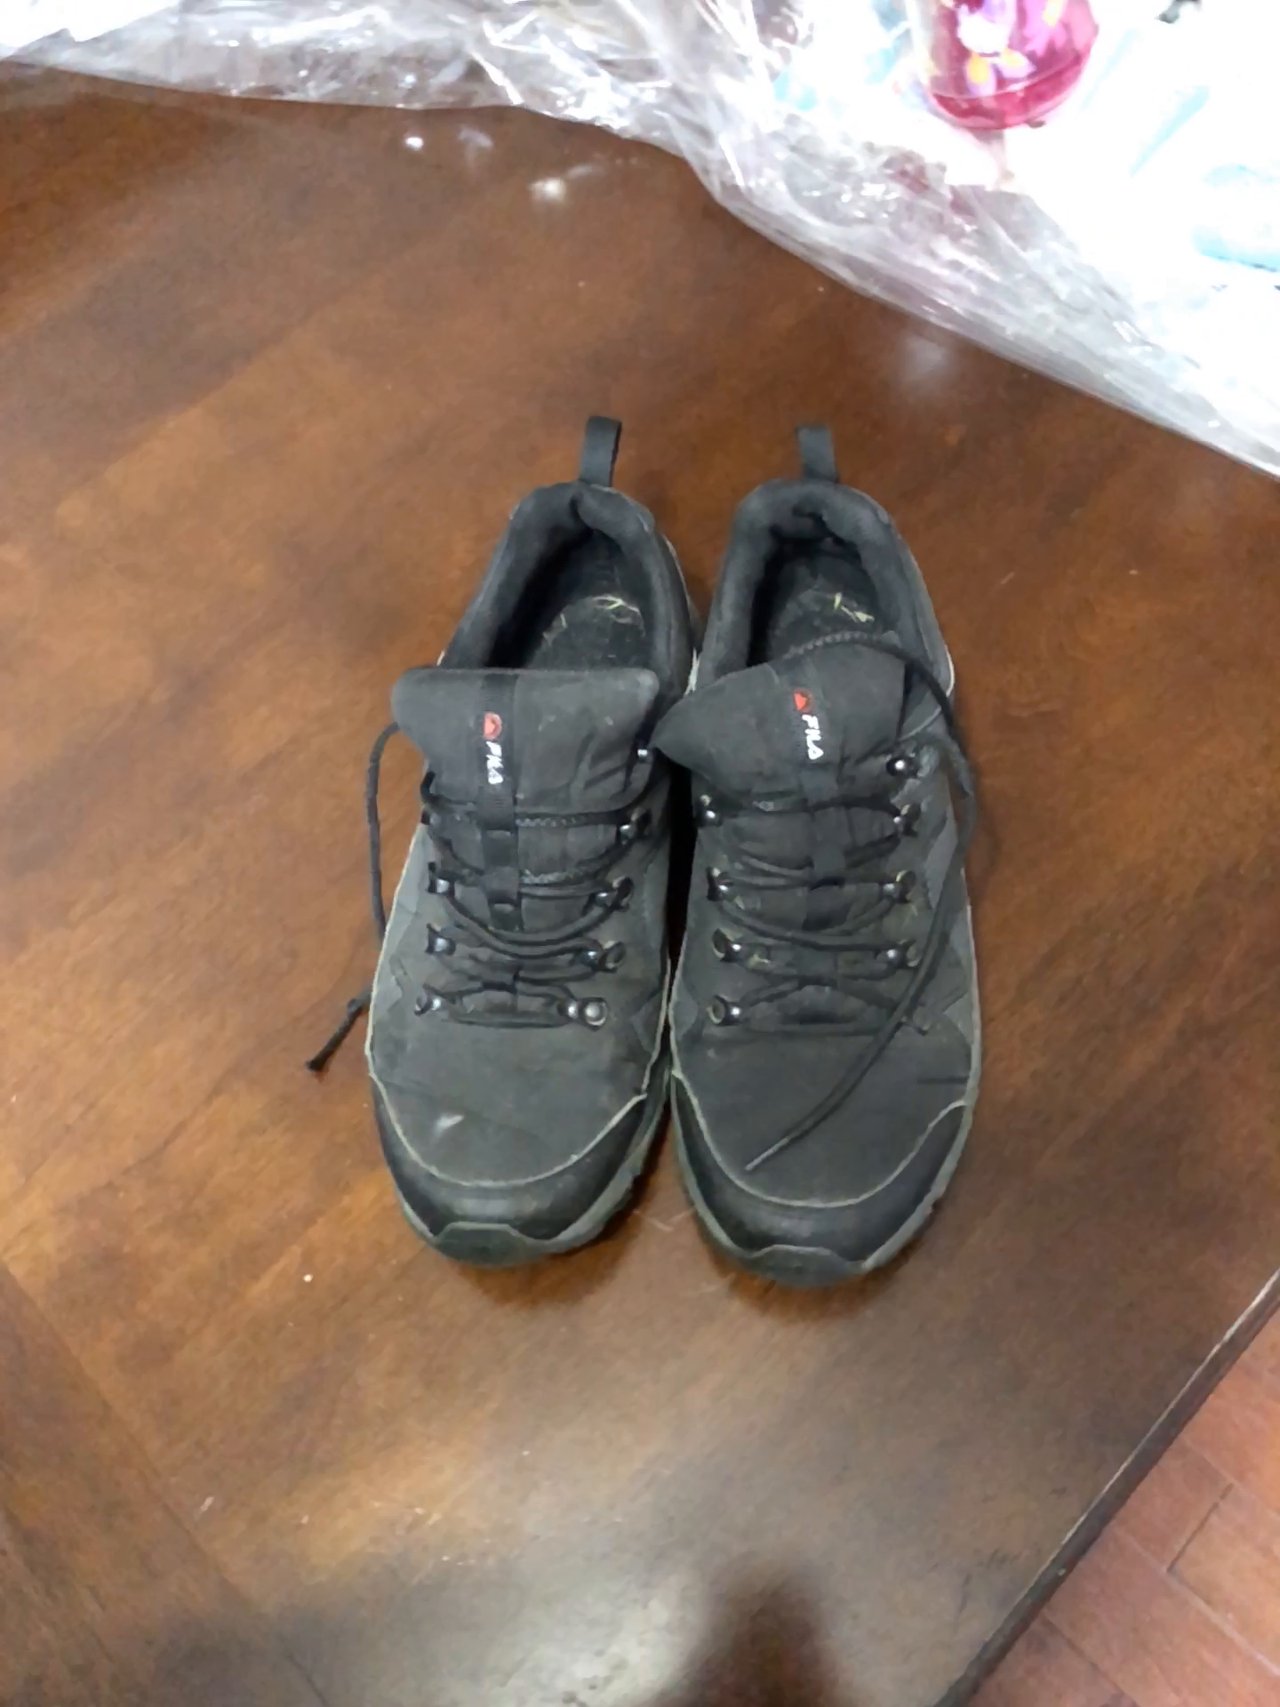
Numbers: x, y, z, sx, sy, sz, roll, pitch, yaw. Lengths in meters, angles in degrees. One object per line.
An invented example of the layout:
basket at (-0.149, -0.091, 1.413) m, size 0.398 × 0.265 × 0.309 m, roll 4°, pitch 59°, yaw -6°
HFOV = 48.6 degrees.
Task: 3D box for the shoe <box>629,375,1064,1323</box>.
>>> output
shoe at (0.066, -0.002, 0.534) m, size 0.120 × 0.150 × 0.320 m, roll -2°, pitch 62°, yaw 5°

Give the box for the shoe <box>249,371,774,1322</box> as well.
shoe at (-0.025, -0.005, 0.552) m, size 0.120 × 0.170 × 0.320 m, roll 5°, pitch 63°, yaw 9°
